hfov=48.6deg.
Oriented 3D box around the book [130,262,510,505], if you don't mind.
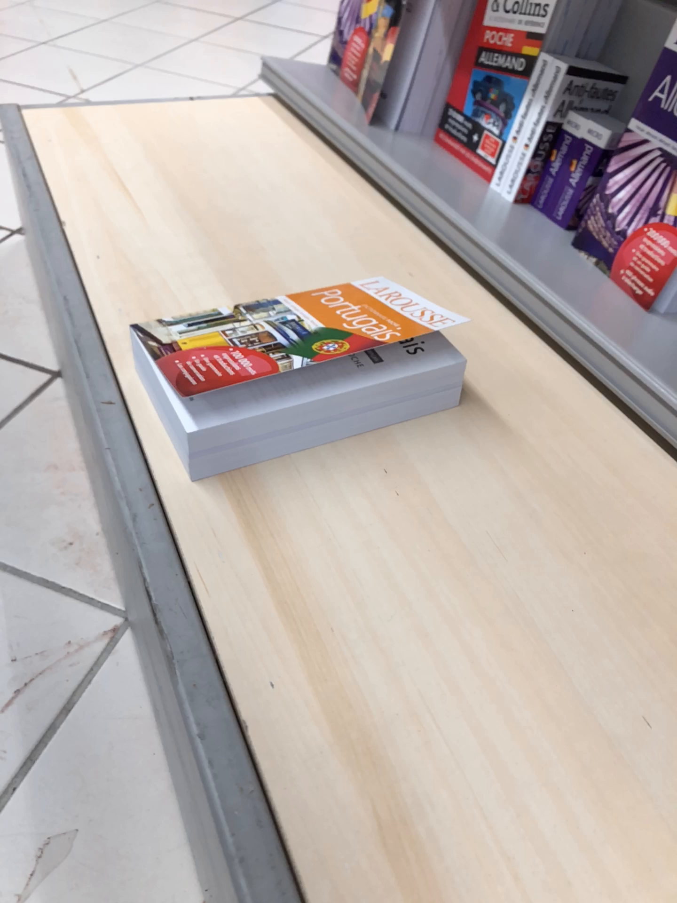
[{"bbox_3d":[-0.013,-0.050,0.444,0.186,0.046,0.118,-16,47,-24],"label":"book"}]
